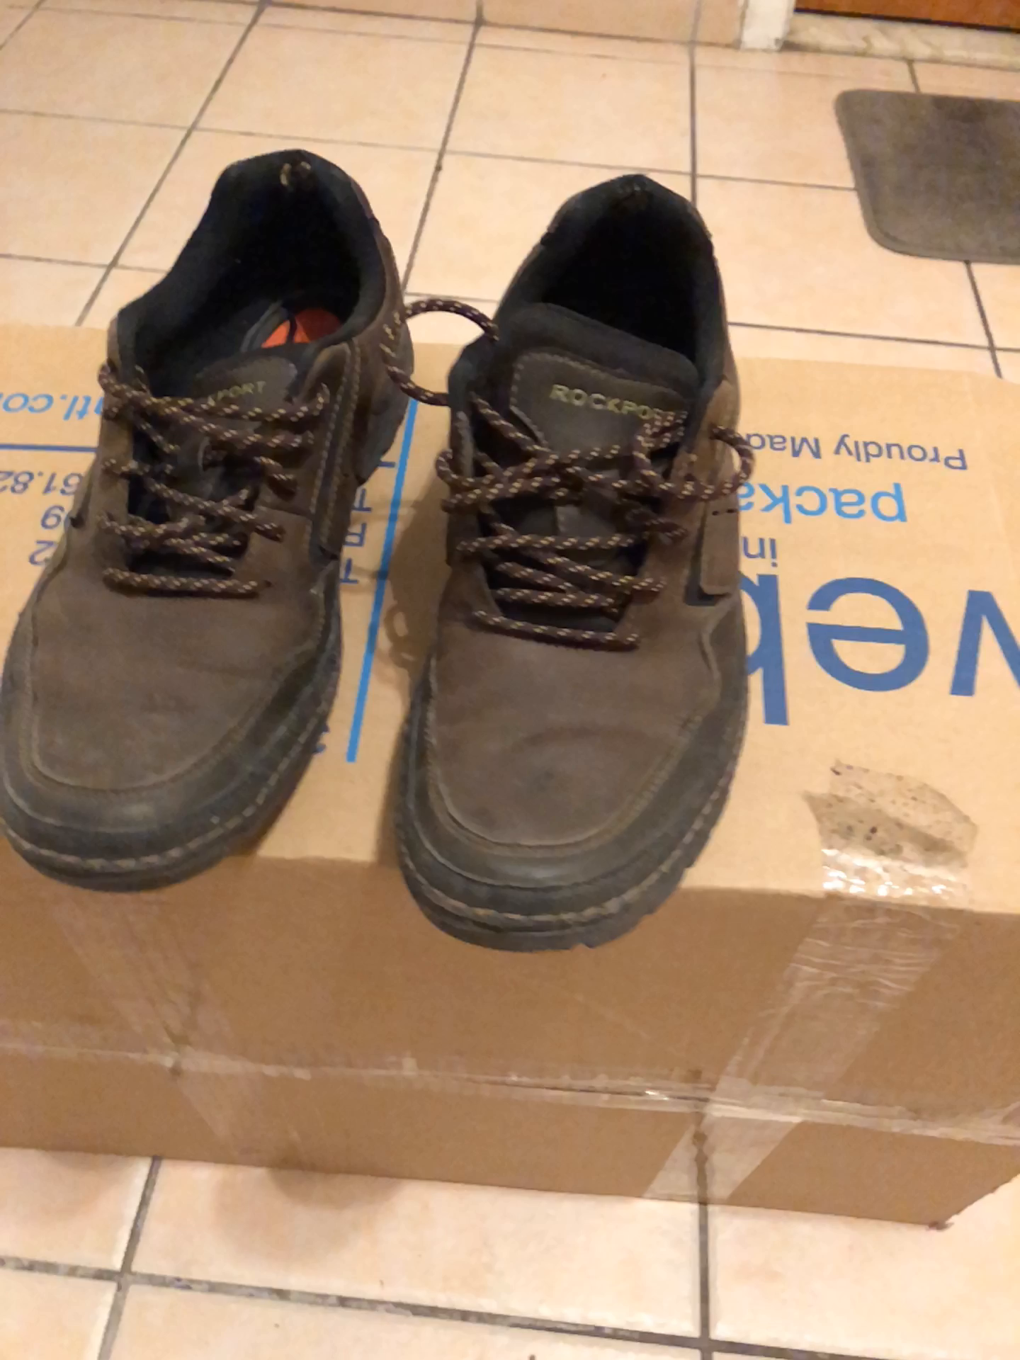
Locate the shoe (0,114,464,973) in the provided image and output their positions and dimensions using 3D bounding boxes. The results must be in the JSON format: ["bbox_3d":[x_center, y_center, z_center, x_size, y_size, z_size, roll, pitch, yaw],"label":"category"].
[{"bbox_3d":[-0.098,-0.065,0.380,0.110,0.109,0.282,9,52,5],"label":"shoe"}]

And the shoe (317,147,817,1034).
[{"bbox_3d":[0.034,-0.051,0.380,0.110,0.109,0.292,9,51,5],"label":"shoe"}]
